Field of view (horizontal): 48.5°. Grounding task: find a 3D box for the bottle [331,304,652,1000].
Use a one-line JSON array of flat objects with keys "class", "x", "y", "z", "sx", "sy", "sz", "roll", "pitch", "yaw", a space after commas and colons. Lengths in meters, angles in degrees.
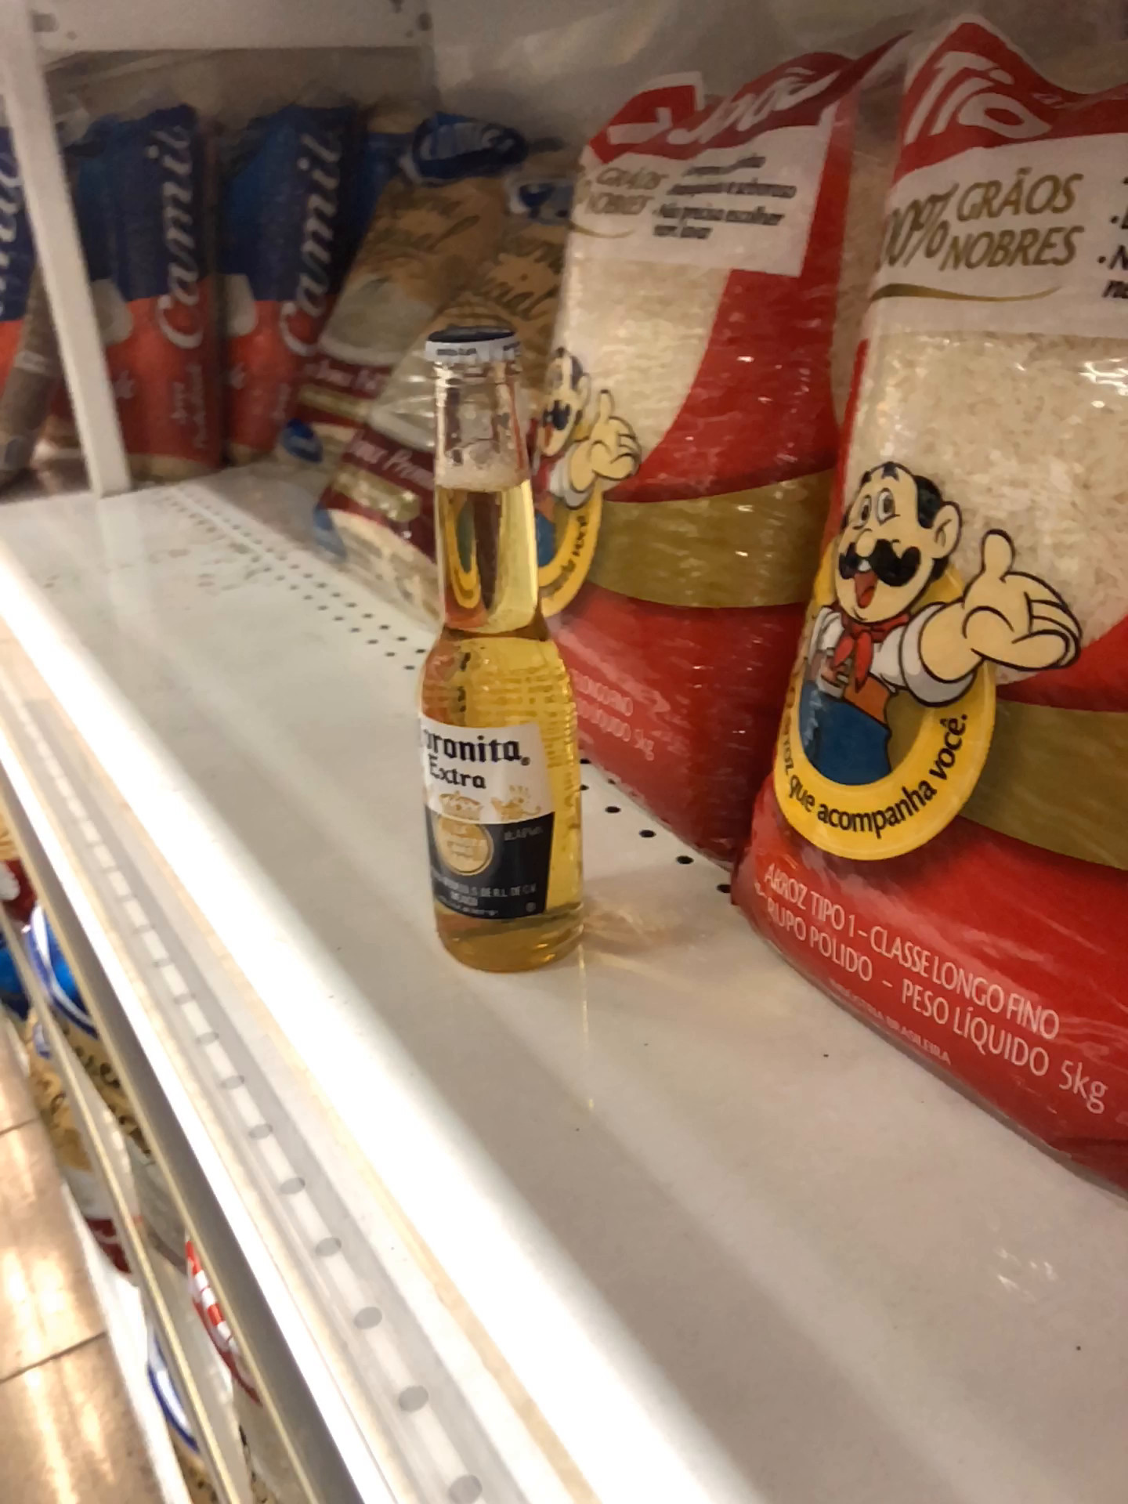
[{"class": "bottle", "x": -0.016, "y": -0.030, "z": 0.388, "sx": 0.060, "sy": 0.199, "sz": 0.060, "roll": -3, "pitch": 26, "yaw": 1}]
